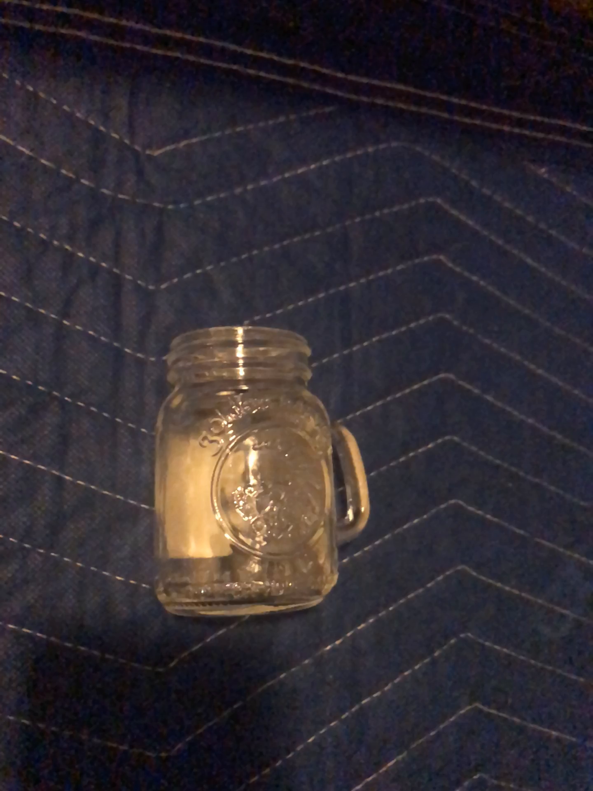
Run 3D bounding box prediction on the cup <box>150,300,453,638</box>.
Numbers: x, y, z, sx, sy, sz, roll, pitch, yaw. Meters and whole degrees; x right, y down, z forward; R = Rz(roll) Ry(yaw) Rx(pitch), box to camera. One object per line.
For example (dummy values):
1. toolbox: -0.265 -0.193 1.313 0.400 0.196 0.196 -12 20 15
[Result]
1. cup: 0.000 0.021 0.224 0.089 0.043 0.095 2 84 -20
